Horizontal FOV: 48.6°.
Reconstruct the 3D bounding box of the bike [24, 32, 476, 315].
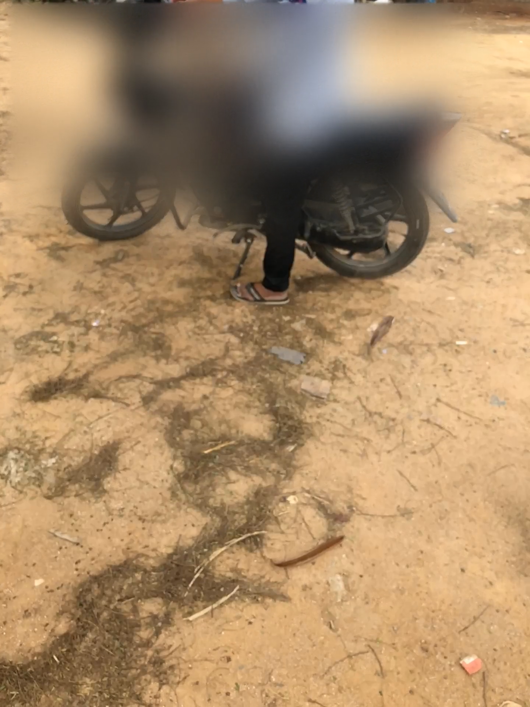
[{"bbox_3d":[-0.076,-0.773,2.479,1.560,0.913,0.673,6,33,13],"label":"bike"}]
